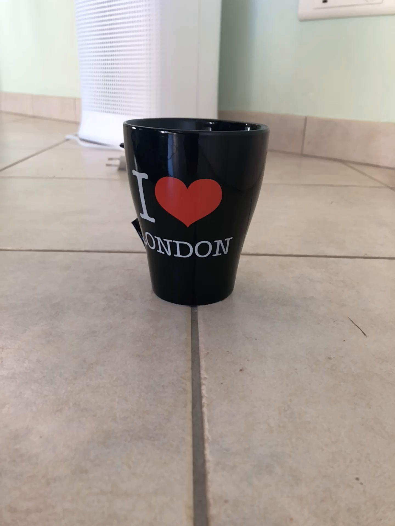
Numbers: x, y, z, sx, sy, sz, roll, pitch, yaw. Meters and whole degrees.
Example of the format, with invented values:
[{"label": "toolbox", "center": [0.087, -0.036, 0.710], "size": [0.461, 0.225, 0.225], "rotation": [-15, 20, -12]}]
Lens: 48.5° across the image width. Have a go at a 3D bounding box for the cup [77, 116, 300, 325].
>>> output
[{"label": "cup", "center": [-0.001, -0.038, 0.290], "size": [0.108, 0.103, 0.098], "rotation": [1, 22, 0]}]
